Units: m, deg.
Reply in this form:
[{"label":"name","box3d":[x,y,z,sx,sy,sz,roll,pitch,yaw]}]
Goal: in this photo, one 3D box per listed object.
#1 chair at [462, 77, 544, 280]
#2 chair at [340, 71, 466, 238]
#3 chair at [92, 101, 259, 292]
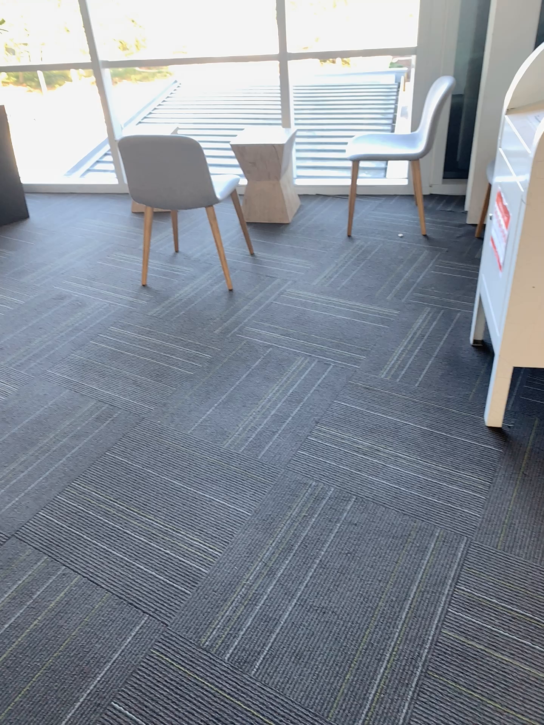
[{"label":"chair","box3d":[1.323,-0.897,2.706,0.600,0.765,0.644,2,35,10]},{"label":"chair","box3d":[0.714,-1.202,3.207,0.600,0.745,0.644,2,35,10]},{"label":"chair","box3d":[-0.432,-0.855,2.844,0.561,0.765,0.603,4,36,12]}]
